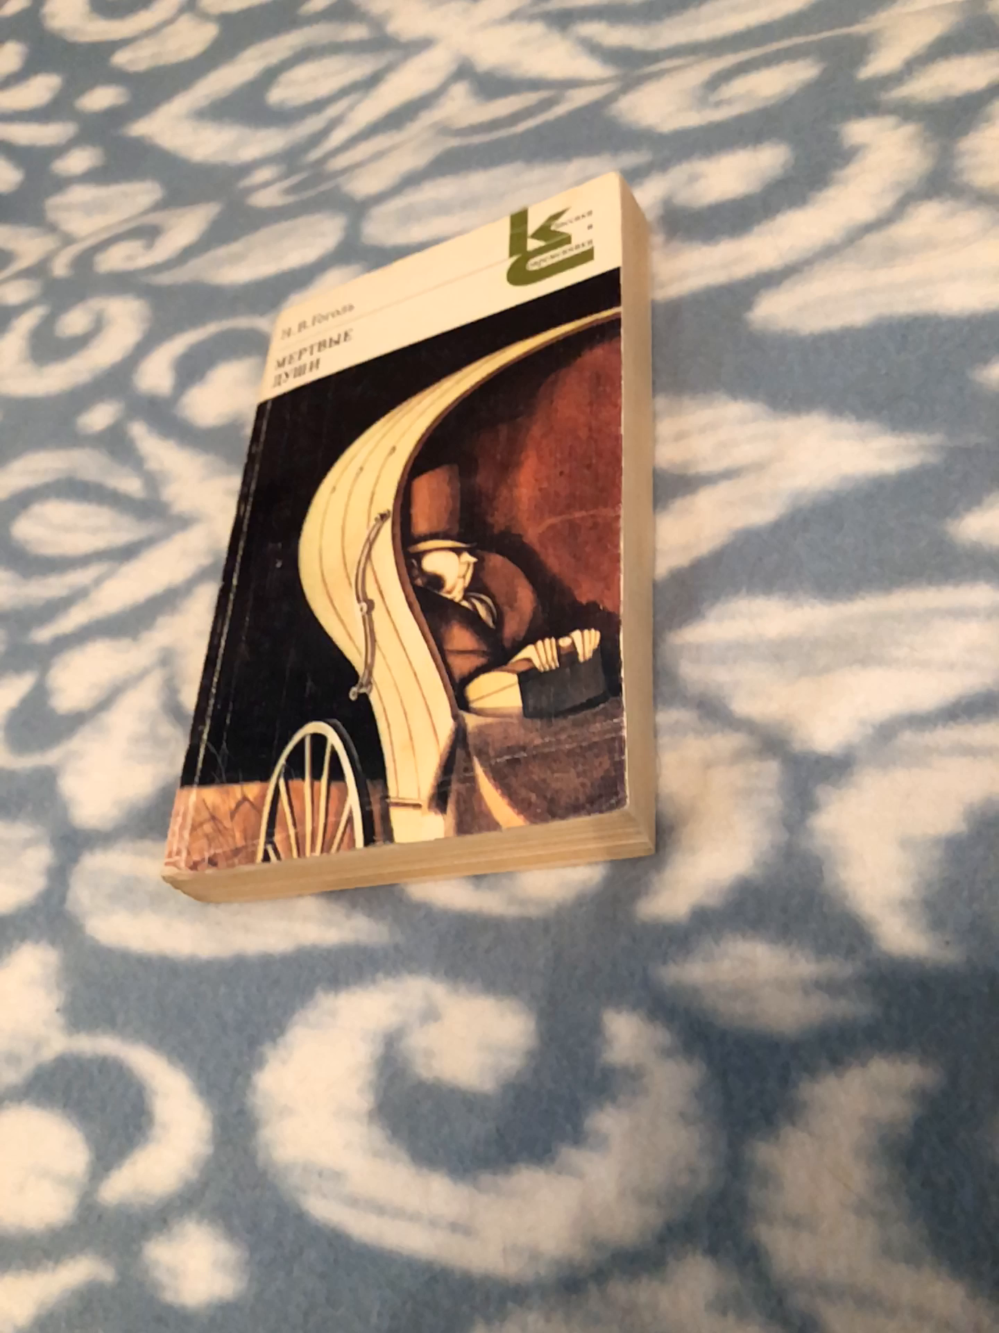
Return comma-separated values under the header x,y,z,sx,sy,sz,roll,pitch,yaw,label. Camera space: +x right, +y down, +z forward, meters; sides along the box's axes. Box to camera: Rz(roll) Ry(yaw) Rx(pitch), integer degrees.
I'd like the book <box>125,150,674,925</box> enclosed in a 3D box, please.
x,y,z,sx,sy,sz,roll,pitch,yaw,label
-0.021,-0.039,0.293,0.126,0.025,0.200,-13,56,25,book
